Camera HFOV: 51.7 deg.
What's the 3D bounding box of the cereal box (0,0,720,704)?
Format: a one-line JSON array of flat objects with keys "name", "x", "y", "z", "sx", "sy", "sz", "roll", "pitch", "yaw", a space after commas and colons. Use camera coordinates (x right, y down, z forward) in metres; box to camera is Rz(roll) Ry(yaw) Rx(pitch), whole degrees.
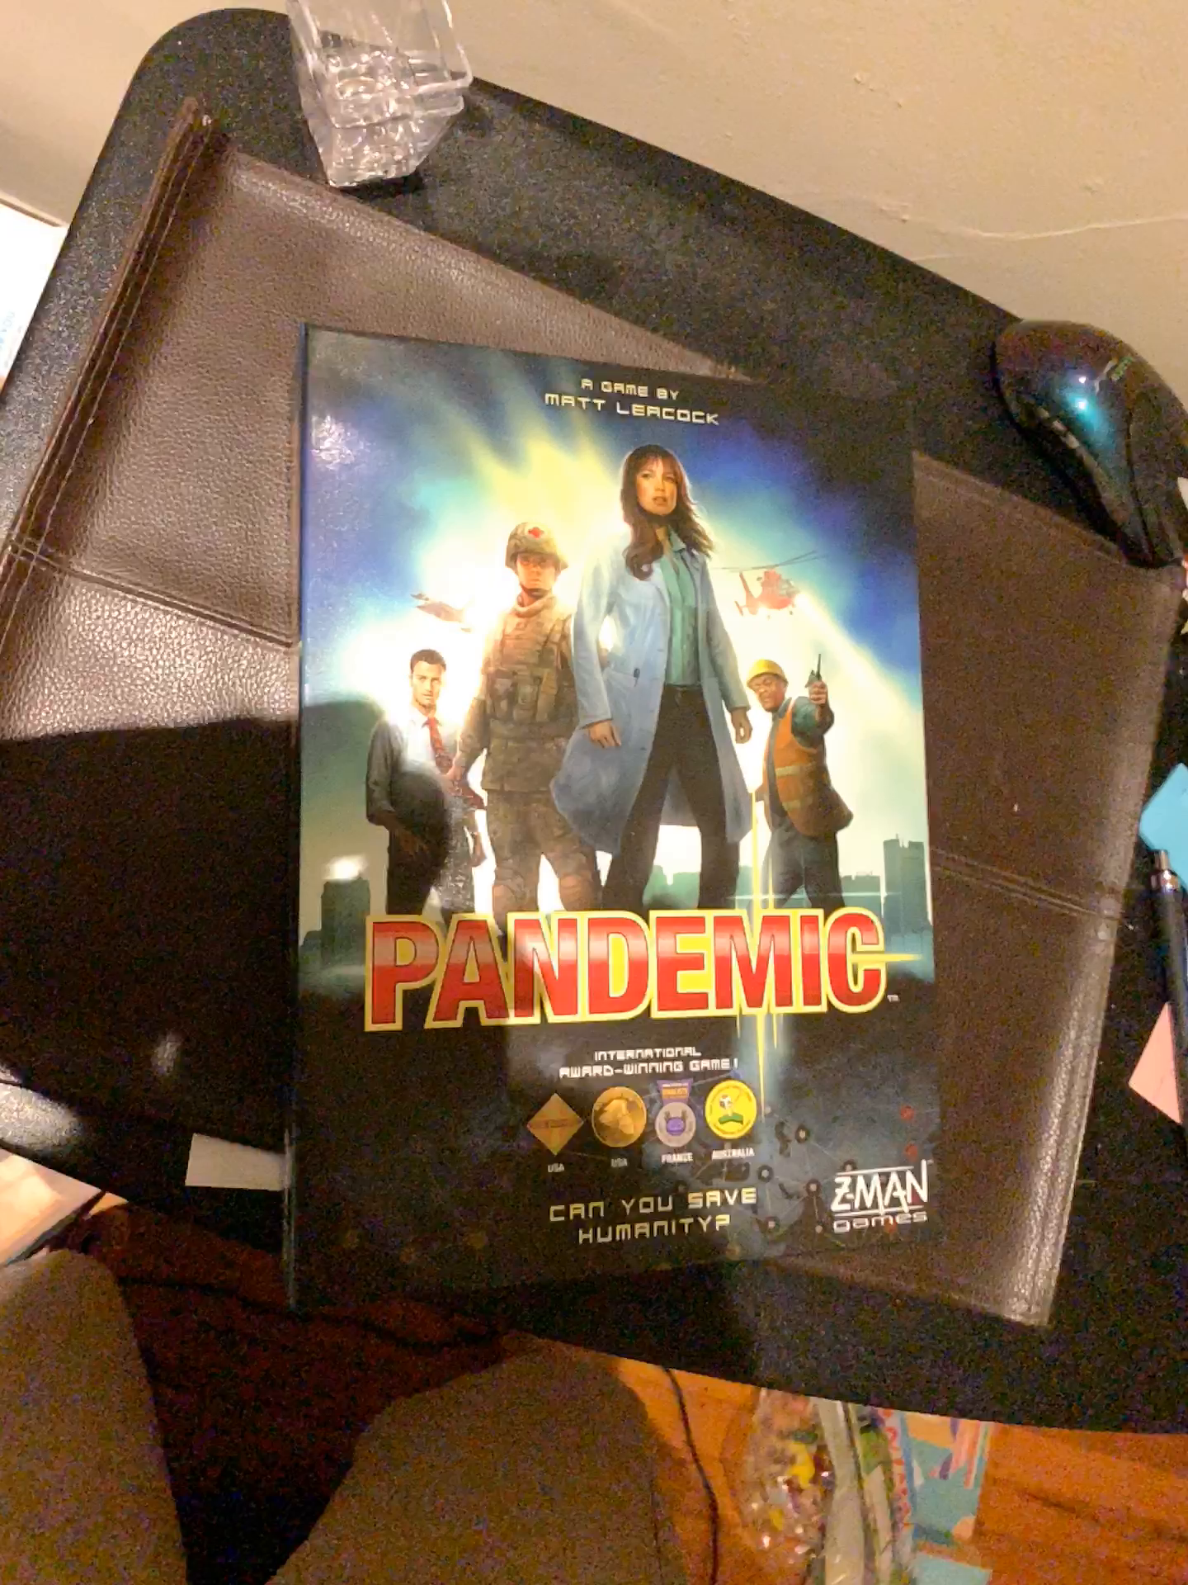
[{"name": "cereal box", "x": -0.389, "y": -0.496, "z": 1.109, "sx": 0.470, "sy": 1.000, "sz": 0.510, "roll": -30, "pitch": 93, "yaw": -18}]
